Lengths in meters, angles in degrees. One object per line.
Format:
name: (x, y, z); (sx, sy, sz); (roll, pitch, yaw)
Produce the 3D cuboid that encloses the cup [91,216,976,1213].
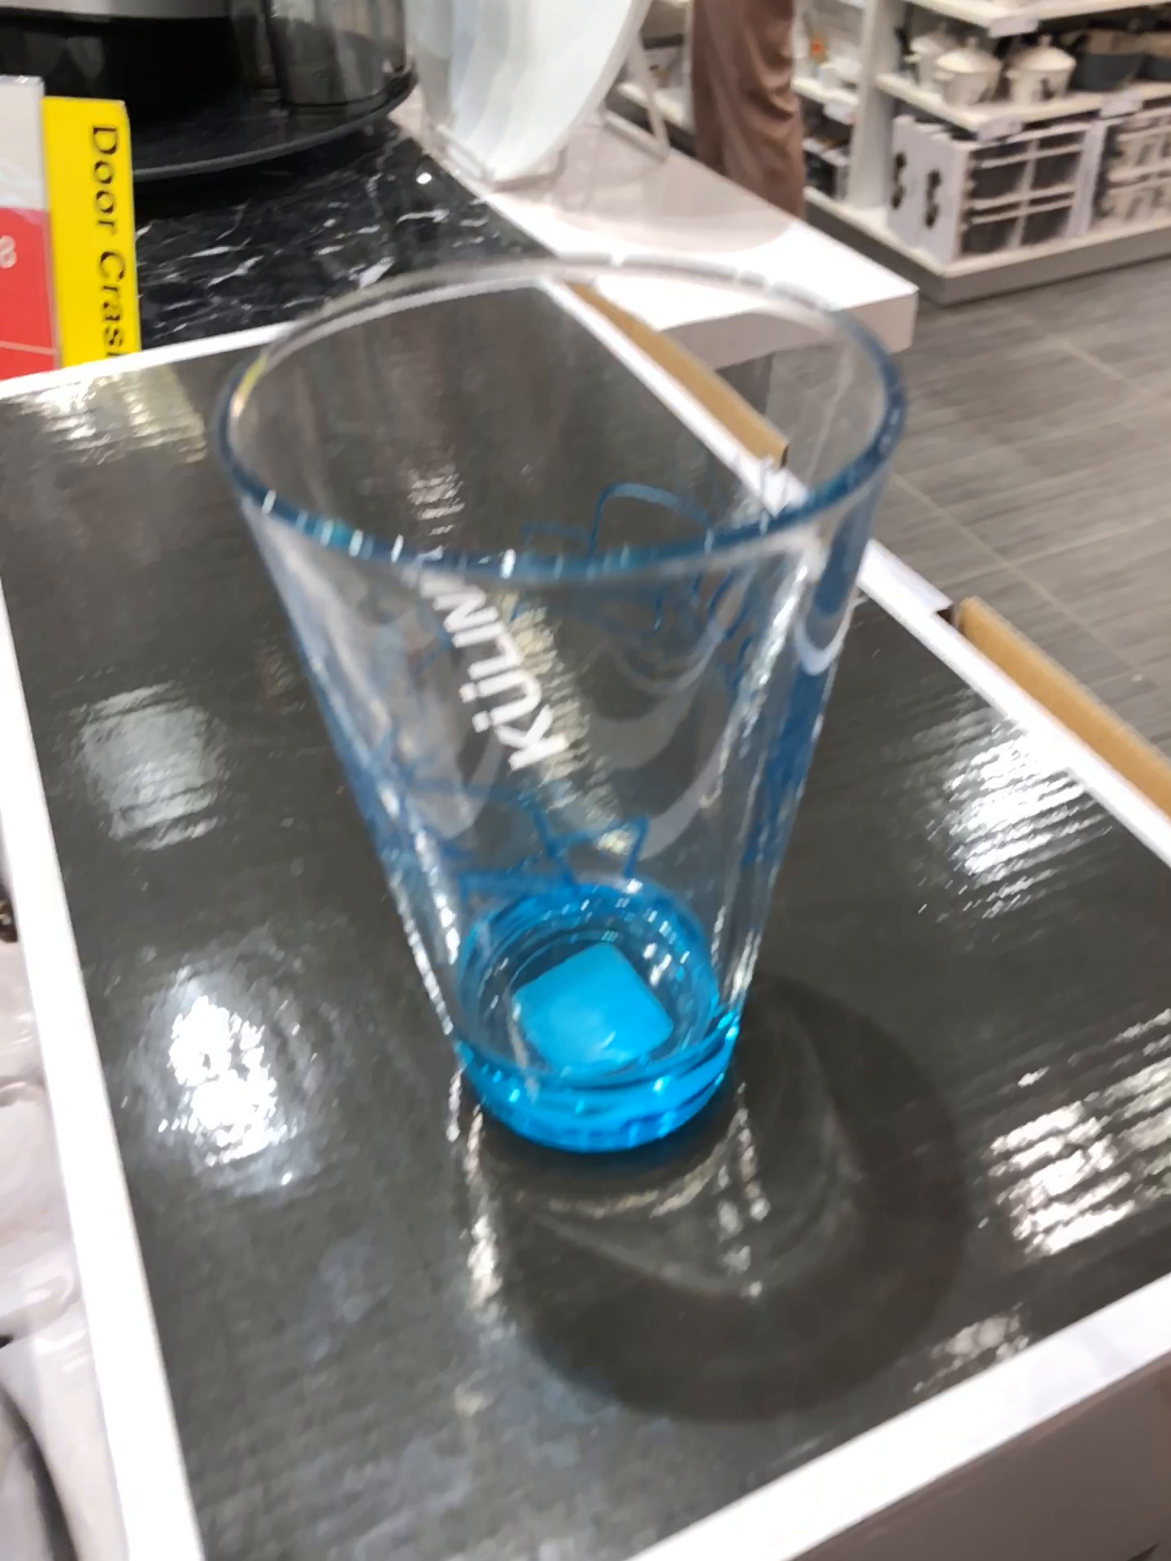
cup: (-0.005, -0.007, 0.184); (0.080, 0.110, 0.080); (-1, 42, 1)
